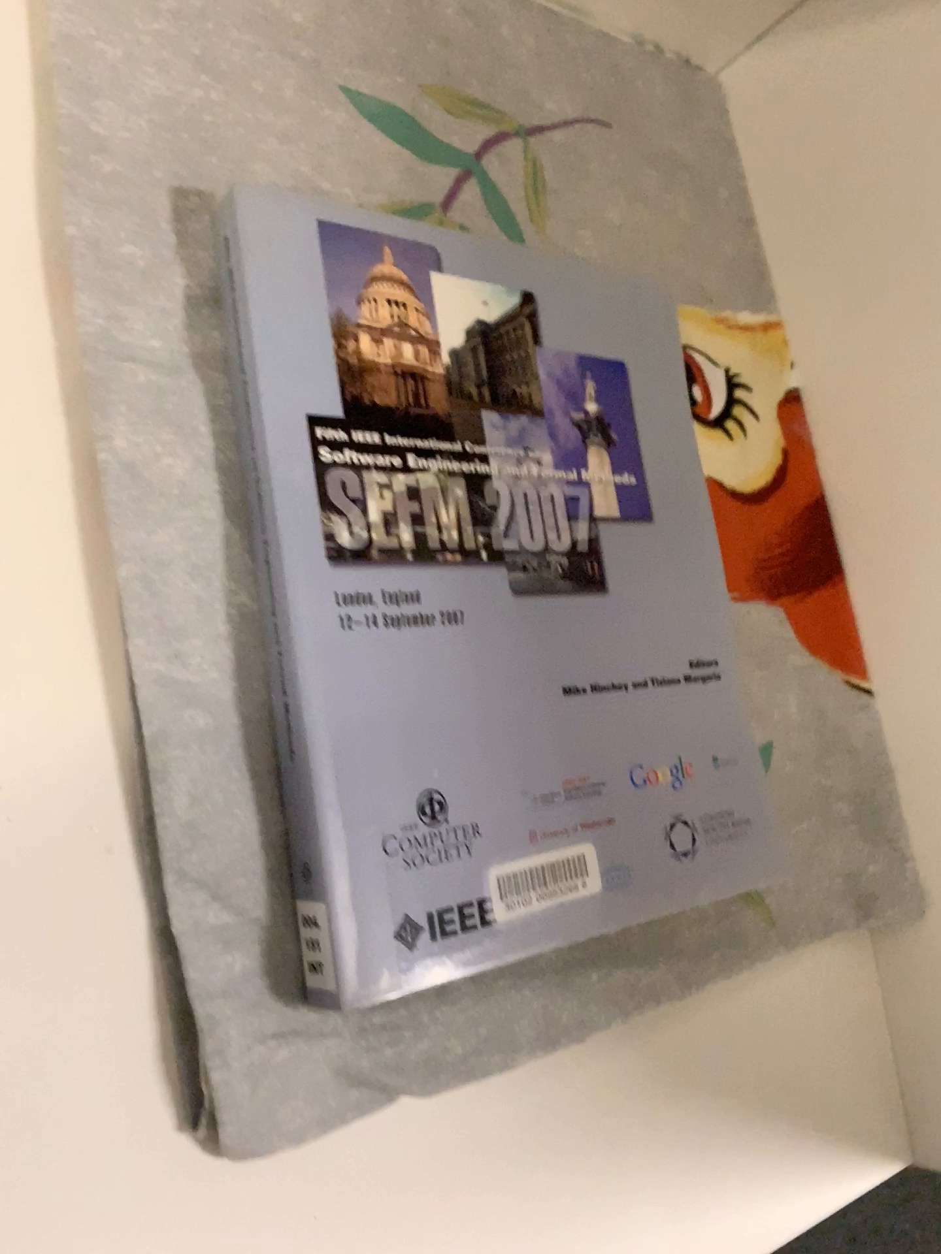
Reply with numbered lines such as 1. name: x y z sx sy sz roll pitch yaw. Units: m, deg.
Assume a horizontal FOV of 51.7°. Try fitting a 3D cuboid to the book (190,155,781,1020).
1. book: 0.015 -0.022 0.374 0.212 0.030 0.274 -2 79 -36
